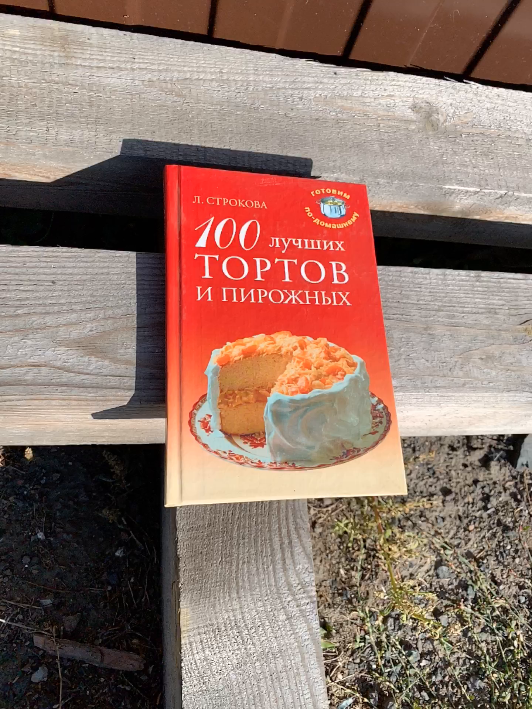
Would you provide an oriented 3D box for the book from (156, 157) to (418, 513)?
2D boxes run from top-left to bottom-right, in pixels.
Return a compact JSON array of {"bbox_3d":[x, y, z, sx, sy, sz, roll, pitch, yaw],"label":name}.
[{"bbox_3d":[0.007,-0.020,0.335,0.143,0.017,0.218,1,69,-13],"label":"book"}]
